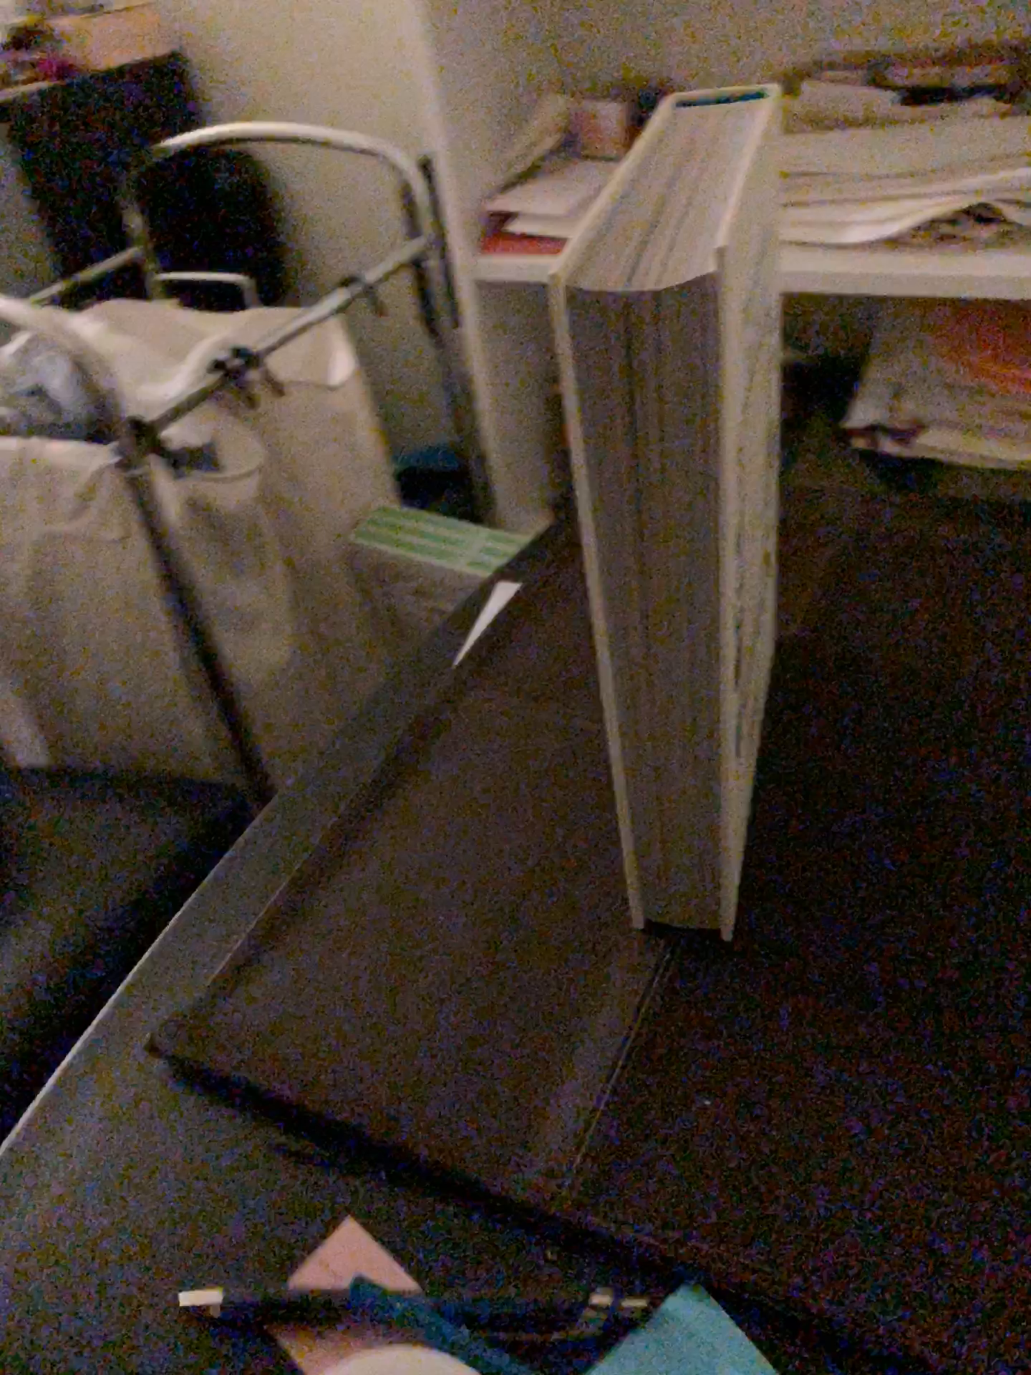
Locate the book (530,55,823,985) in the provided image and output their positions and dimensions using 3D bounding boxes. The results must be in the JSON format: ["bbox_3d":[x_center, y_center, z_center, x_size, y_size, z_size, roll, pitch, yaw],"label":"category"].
[{"bbox_3d":[0.077,-0.062,0.401,0.050,0.268,0.211,4,39,19],"label":"book"}]
